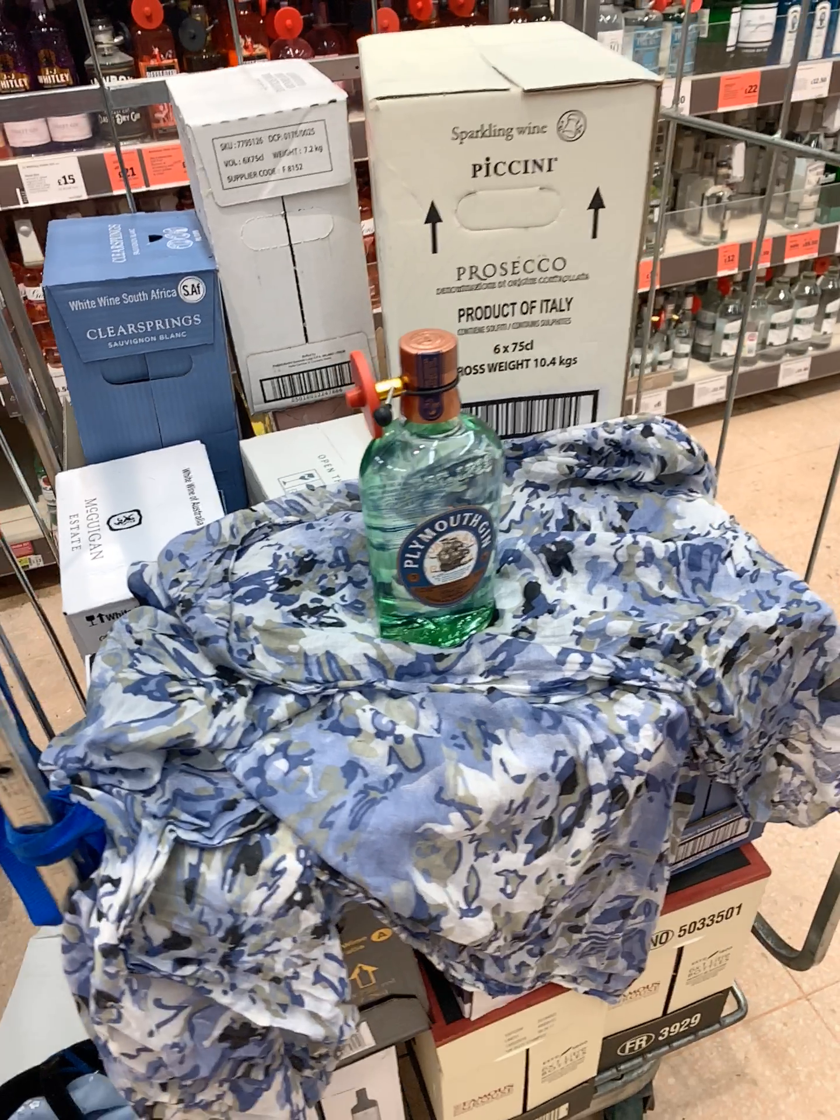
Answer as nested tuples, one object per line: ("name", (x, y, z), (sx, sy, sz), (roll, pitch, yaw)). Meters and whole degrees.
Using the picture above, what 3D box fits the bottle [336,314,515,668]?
("bottle", (0.008, -0.040, 0.588), (0.094, 0.228, 0.058), (-15, 39, -14))
